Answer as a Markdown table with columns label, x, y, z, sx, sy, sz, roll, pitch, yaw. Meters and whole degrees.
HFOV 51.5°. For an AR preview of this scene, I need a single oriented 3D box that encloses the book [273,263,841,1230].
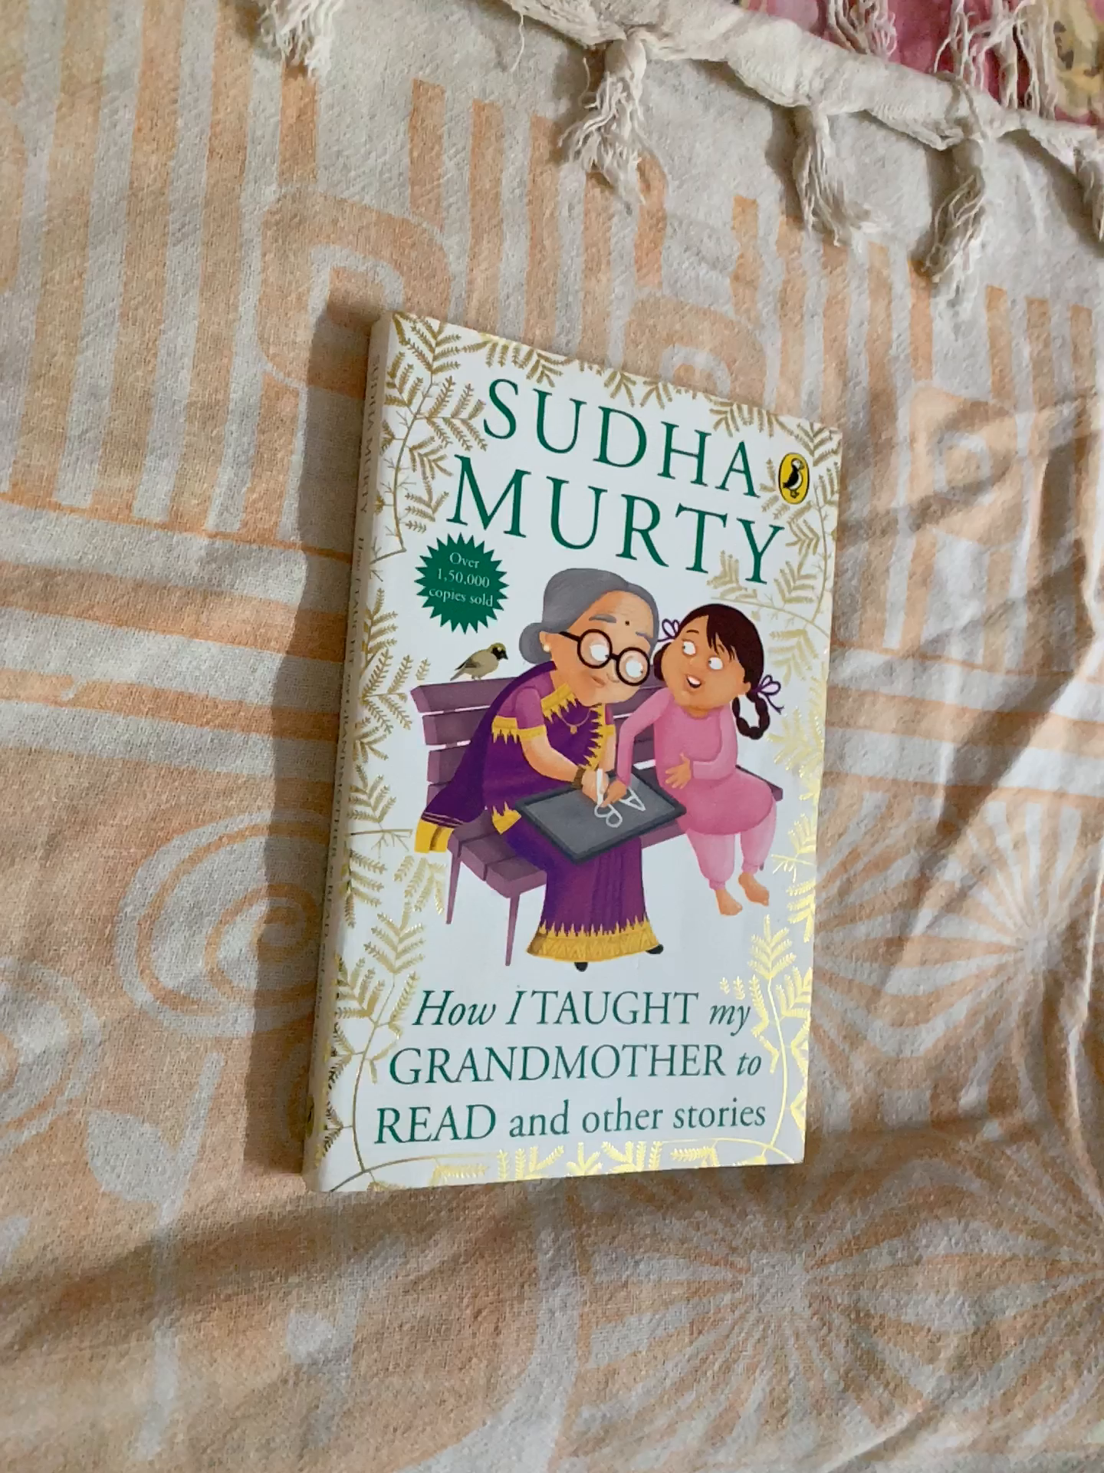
| label | x | y | z | sx | sy | sz | roll | pitch | yaw |
| --- | --- | --- | --- | --- | --- | --- | --- | --- | --- |
| book | 0.009 | 0.003 | 0.271 | 0.130 | 0.020 | 0.200 | 5 | 82 | -24 |
